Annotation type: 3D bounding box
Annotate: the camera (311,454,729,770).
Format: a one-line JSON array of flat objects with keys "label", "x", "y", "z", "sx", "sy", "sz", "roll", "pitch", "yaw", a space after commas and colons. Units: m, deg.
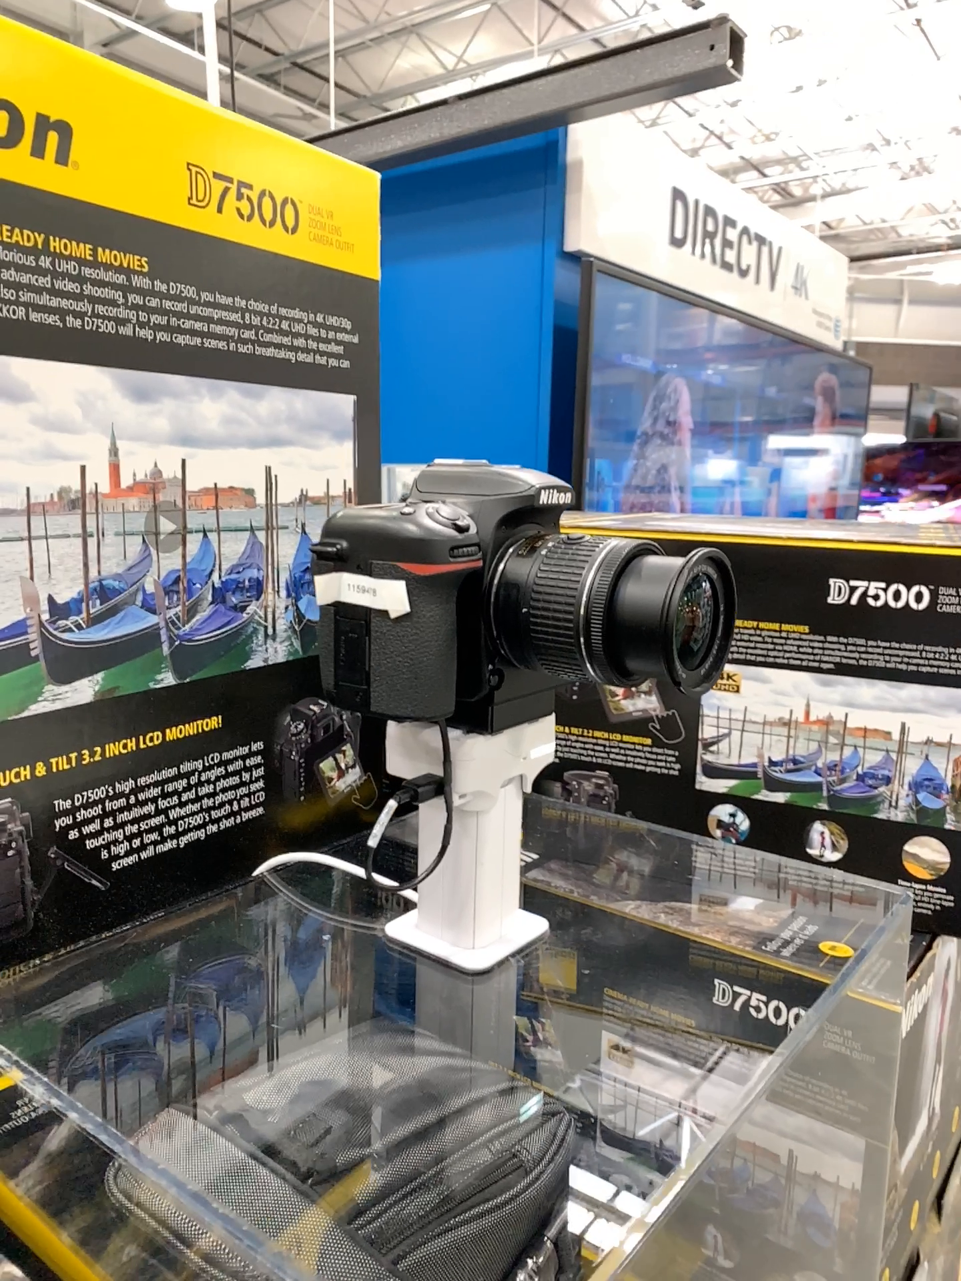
[{"label": "camera", "x": 0.023, "y": -0.023, "z": 0.437, "sx": 0.110, "sy": 0.110, "sz": 0.160, "roll": 7, "pitch": 10, "yaw": 36}]
